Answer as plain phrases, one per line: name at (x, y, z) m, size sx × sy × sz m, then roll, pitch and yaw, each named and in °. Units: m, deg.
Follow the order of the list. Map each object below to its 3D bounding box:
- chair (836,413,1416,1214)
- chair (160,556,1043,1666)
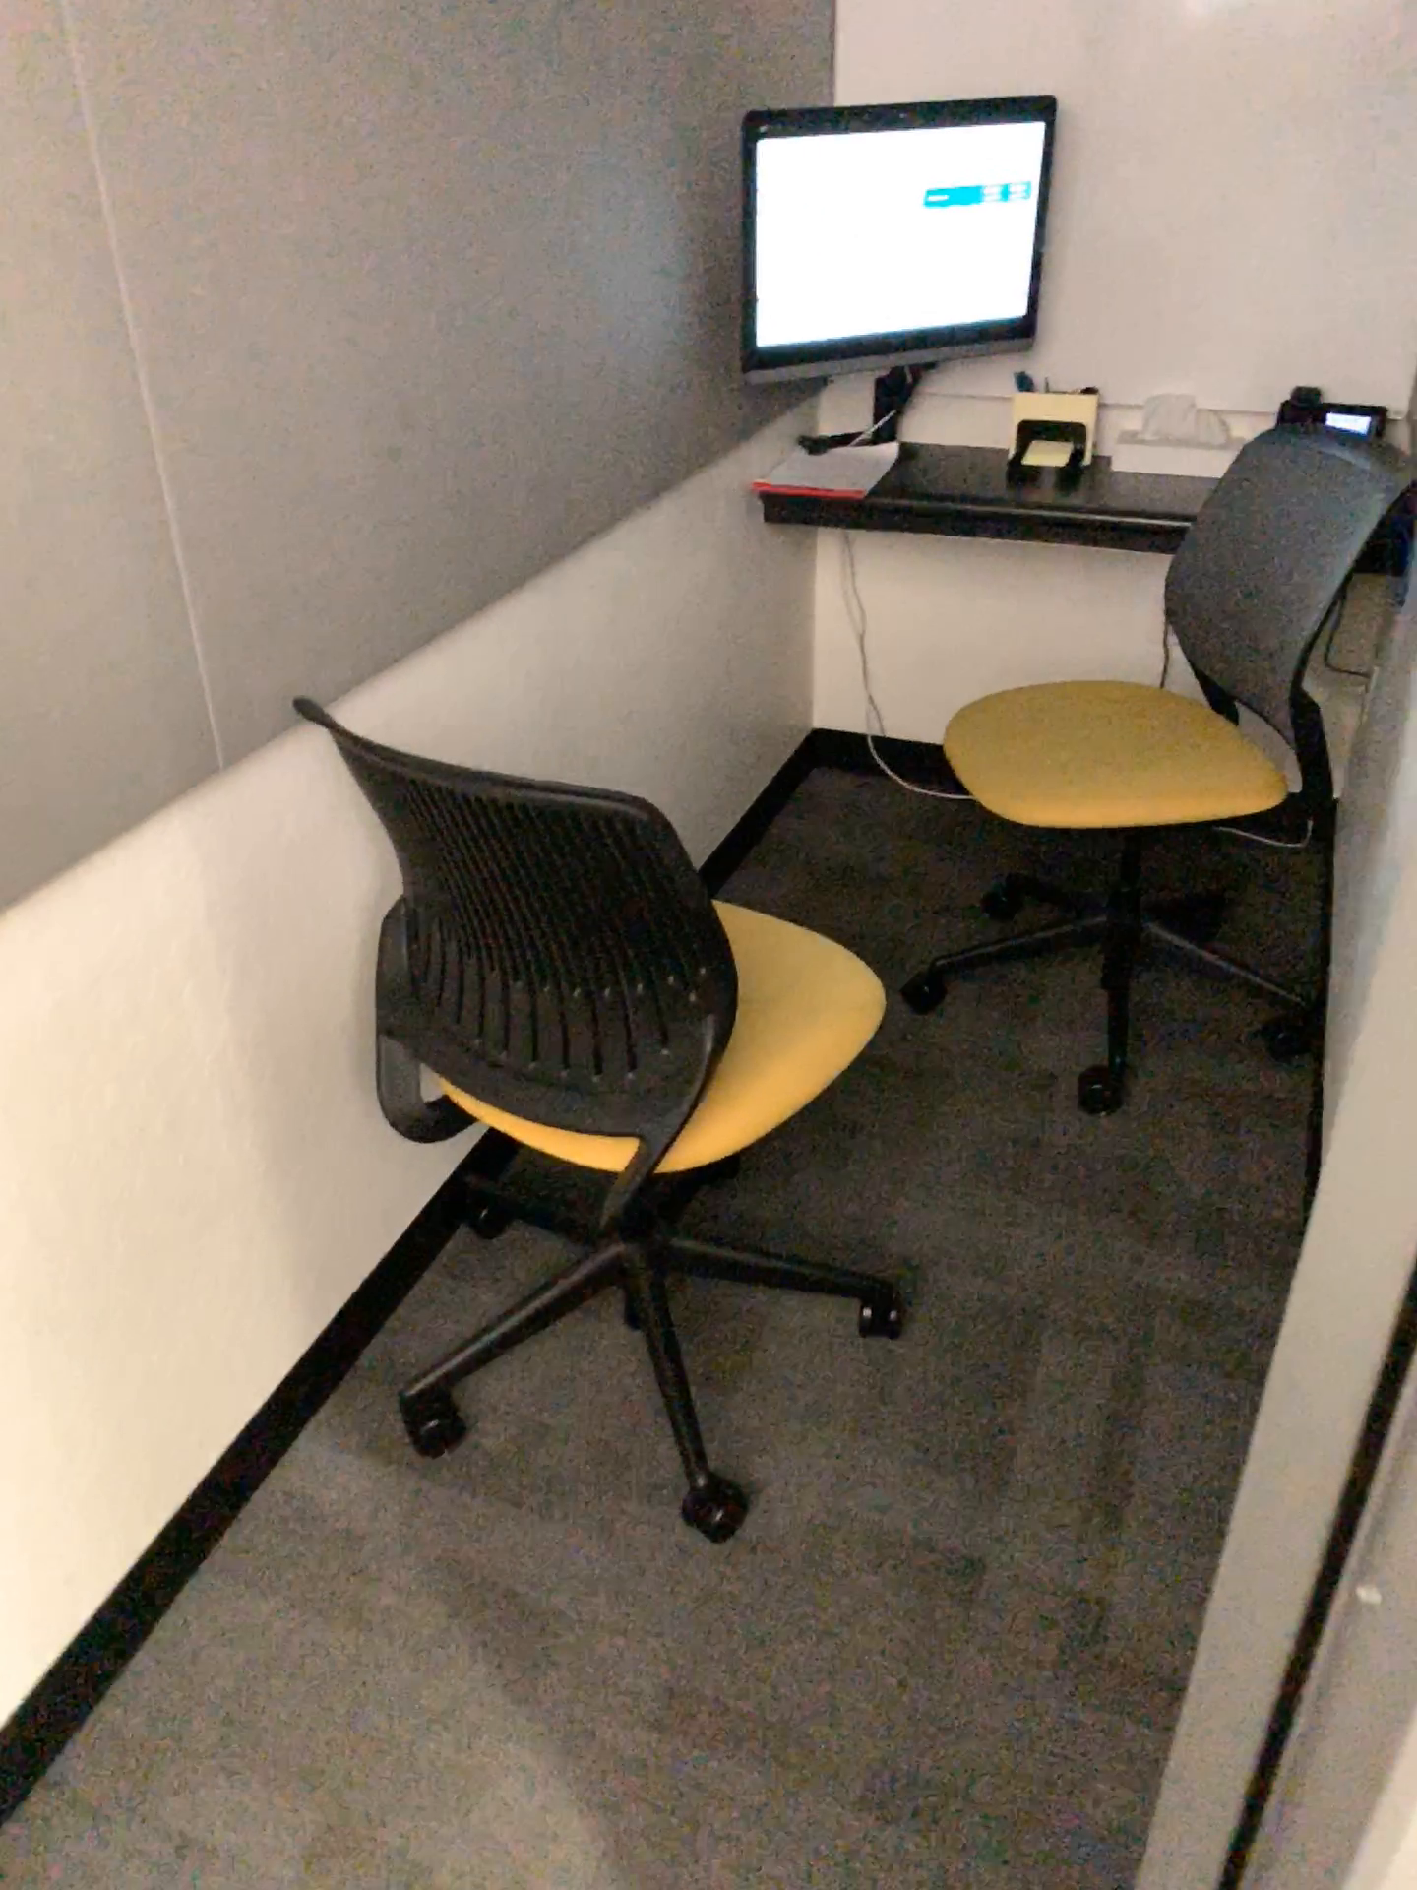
chair at (0.850, -0.296, 2.620) m, size 0.950 × 1.034 × 0.926 m, roll -9°, pitch 33°, yaw -12°
chair at (-0.078, 0.129, 1.517) m, size 0.552 × 0.845 × 0.571 m, roll 22°, pitch 38°, yaw 33°
